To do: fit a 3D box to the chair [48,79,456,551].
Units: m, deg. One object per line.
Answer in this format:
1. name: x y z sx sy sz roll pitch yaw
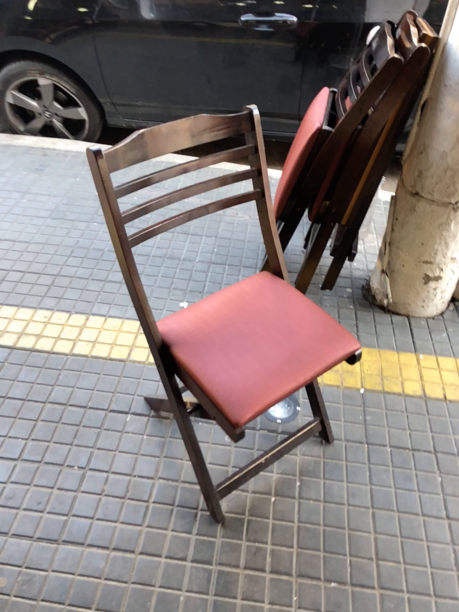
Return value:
1. chair: 0.014 0.040 1.148 0.512 0.844 0.482 -27 51 -27
